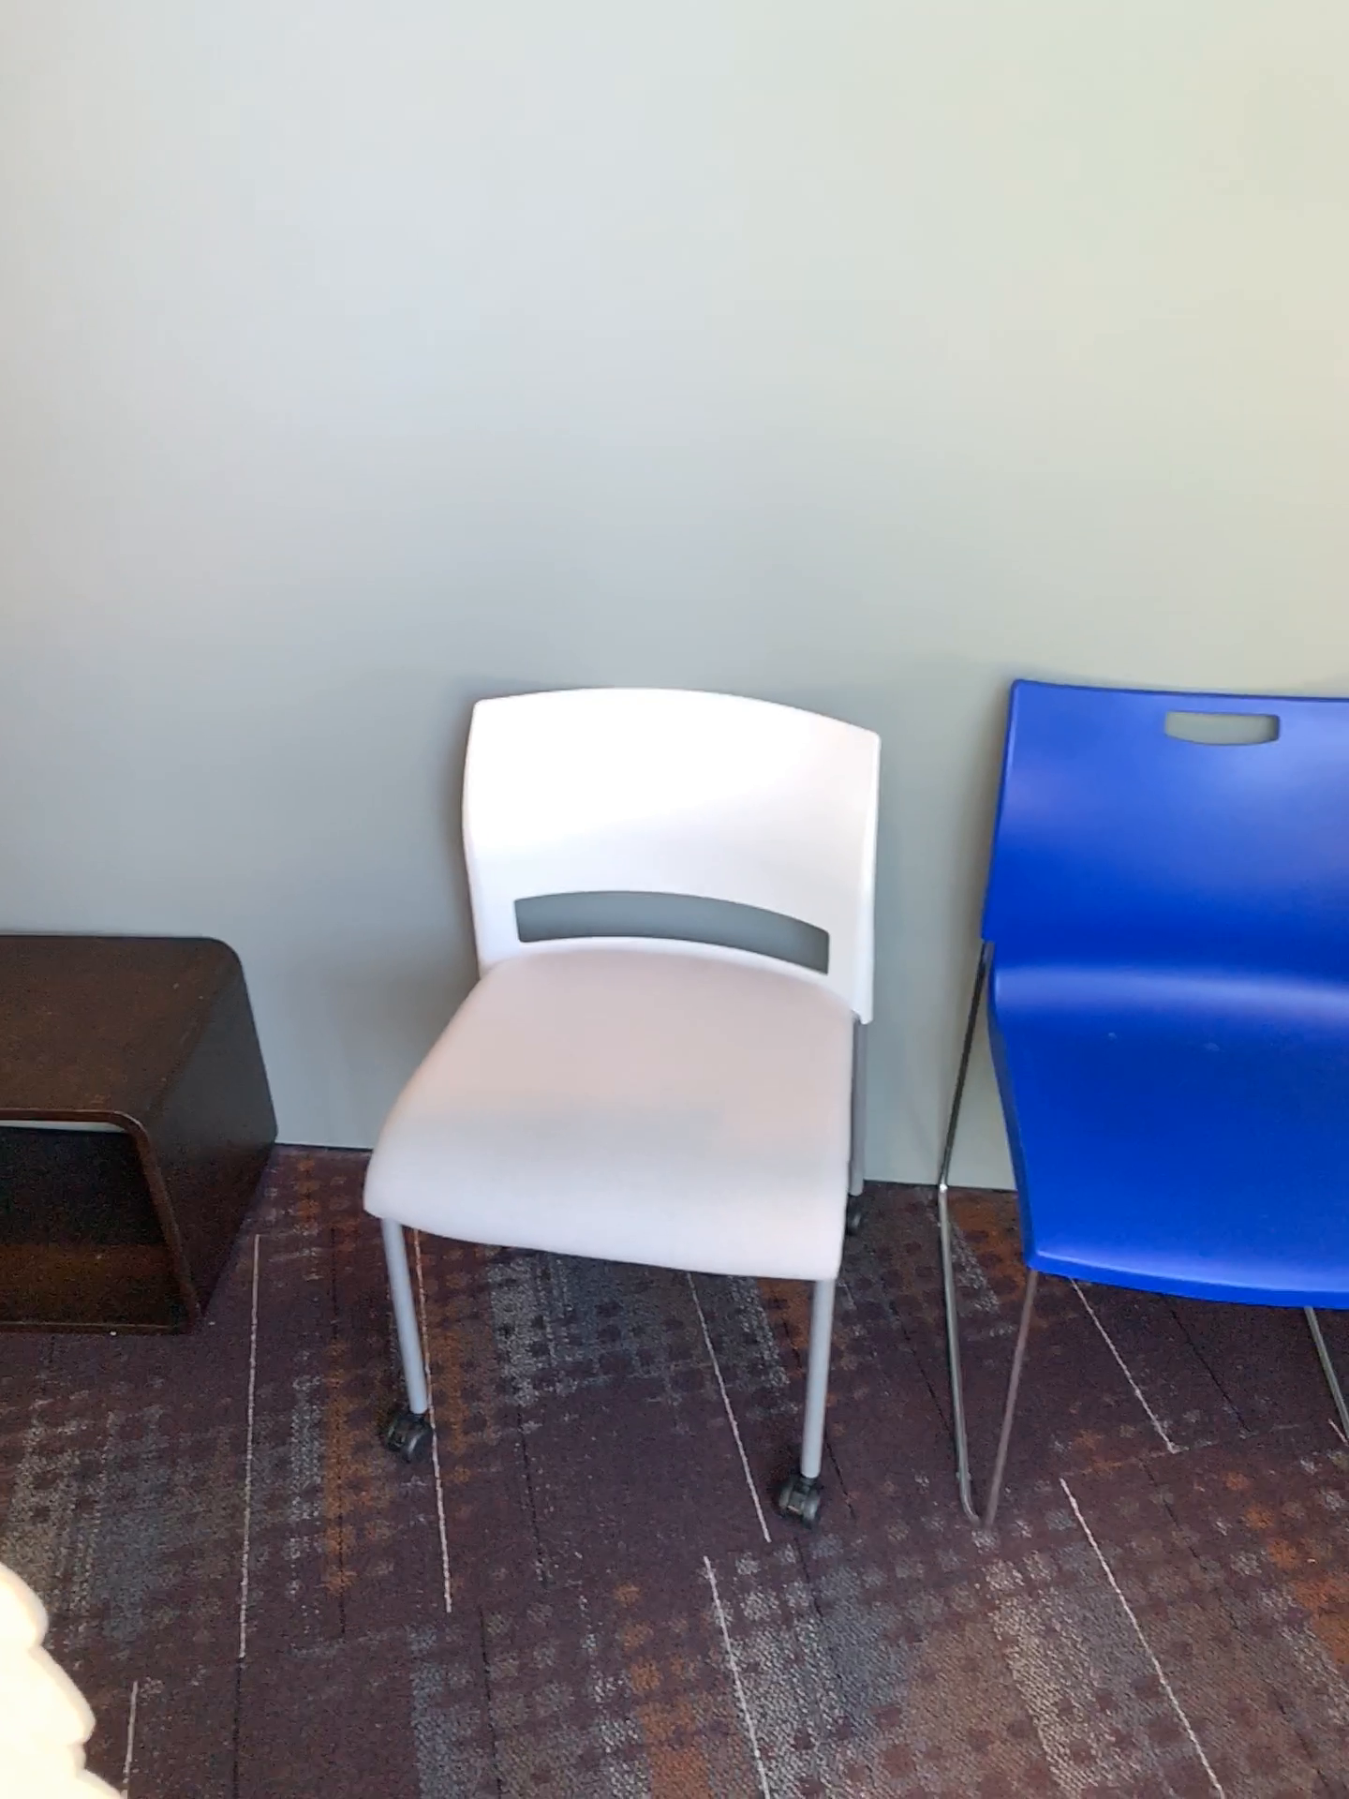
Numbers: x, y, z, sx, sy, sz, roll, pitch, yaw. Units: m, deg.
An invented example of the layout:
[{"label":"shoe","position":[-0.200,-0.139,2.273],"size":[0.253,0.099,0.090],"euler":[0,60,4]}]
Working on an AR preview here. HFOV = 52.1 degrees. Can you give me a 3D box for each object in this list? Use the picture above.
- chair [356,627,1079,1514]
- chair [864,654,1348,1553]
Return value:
[{"label":"chair","position":[-0.010,0.192,1.562],"size":[0.590,0.796,0.563],"euler":[3,32,-5]},{"label":"chair","position":[0.554,0.202,1.631],"size":[0.590,0.796,0.623],"euler":[3,27,5]}]
